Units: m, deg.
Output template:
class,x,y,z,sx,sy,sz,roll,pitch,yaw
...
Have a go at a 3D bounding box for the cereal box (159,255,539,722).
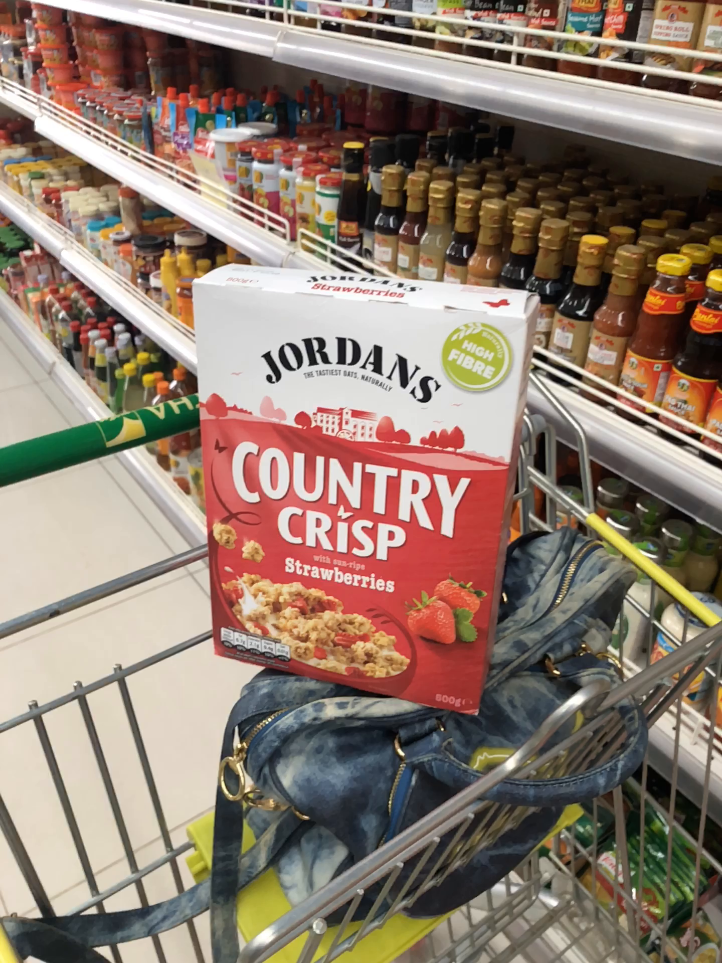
class,x,y,z,sx,sy,sz,roll,pitch,yaw
cereal box,-0.011,0.007,0.479,0.190,0.249,0.060,10,29,13
